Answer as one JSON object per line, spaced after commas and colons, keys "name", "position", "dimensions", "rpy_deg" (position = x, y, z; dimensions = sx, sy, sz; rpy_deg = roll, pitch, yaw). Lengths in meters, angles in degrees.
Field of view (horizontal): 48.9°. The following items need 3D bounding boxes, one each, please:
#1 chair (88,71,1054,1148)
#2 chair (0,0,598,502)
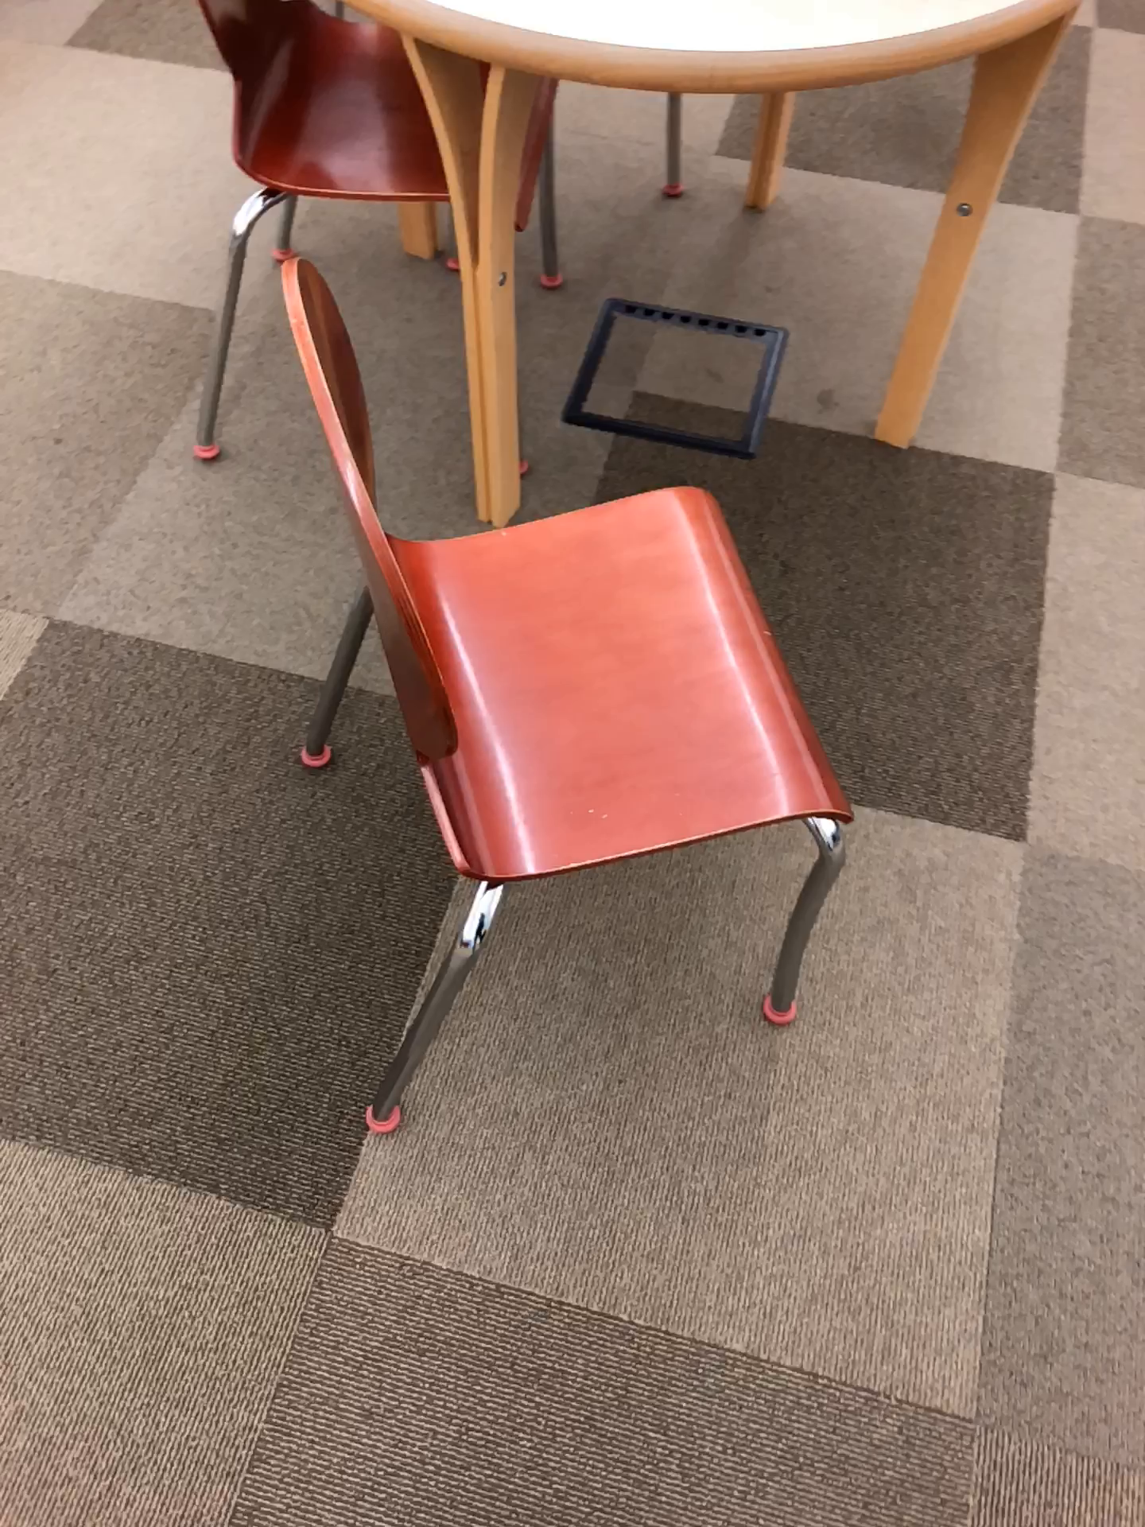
{"name": "chair", "position": [-0.042, -0.074, 1.081], "dimensions": [0.488, 0.721, 0.488], "rpy_deg": [-12, 58, -9]}
{"name": "chair", "position": [-0.261, -0.781, 1.513], "dimensions": [0.508, 0.721, 0.508], "rpy_deg": [6, 57, 3]}
